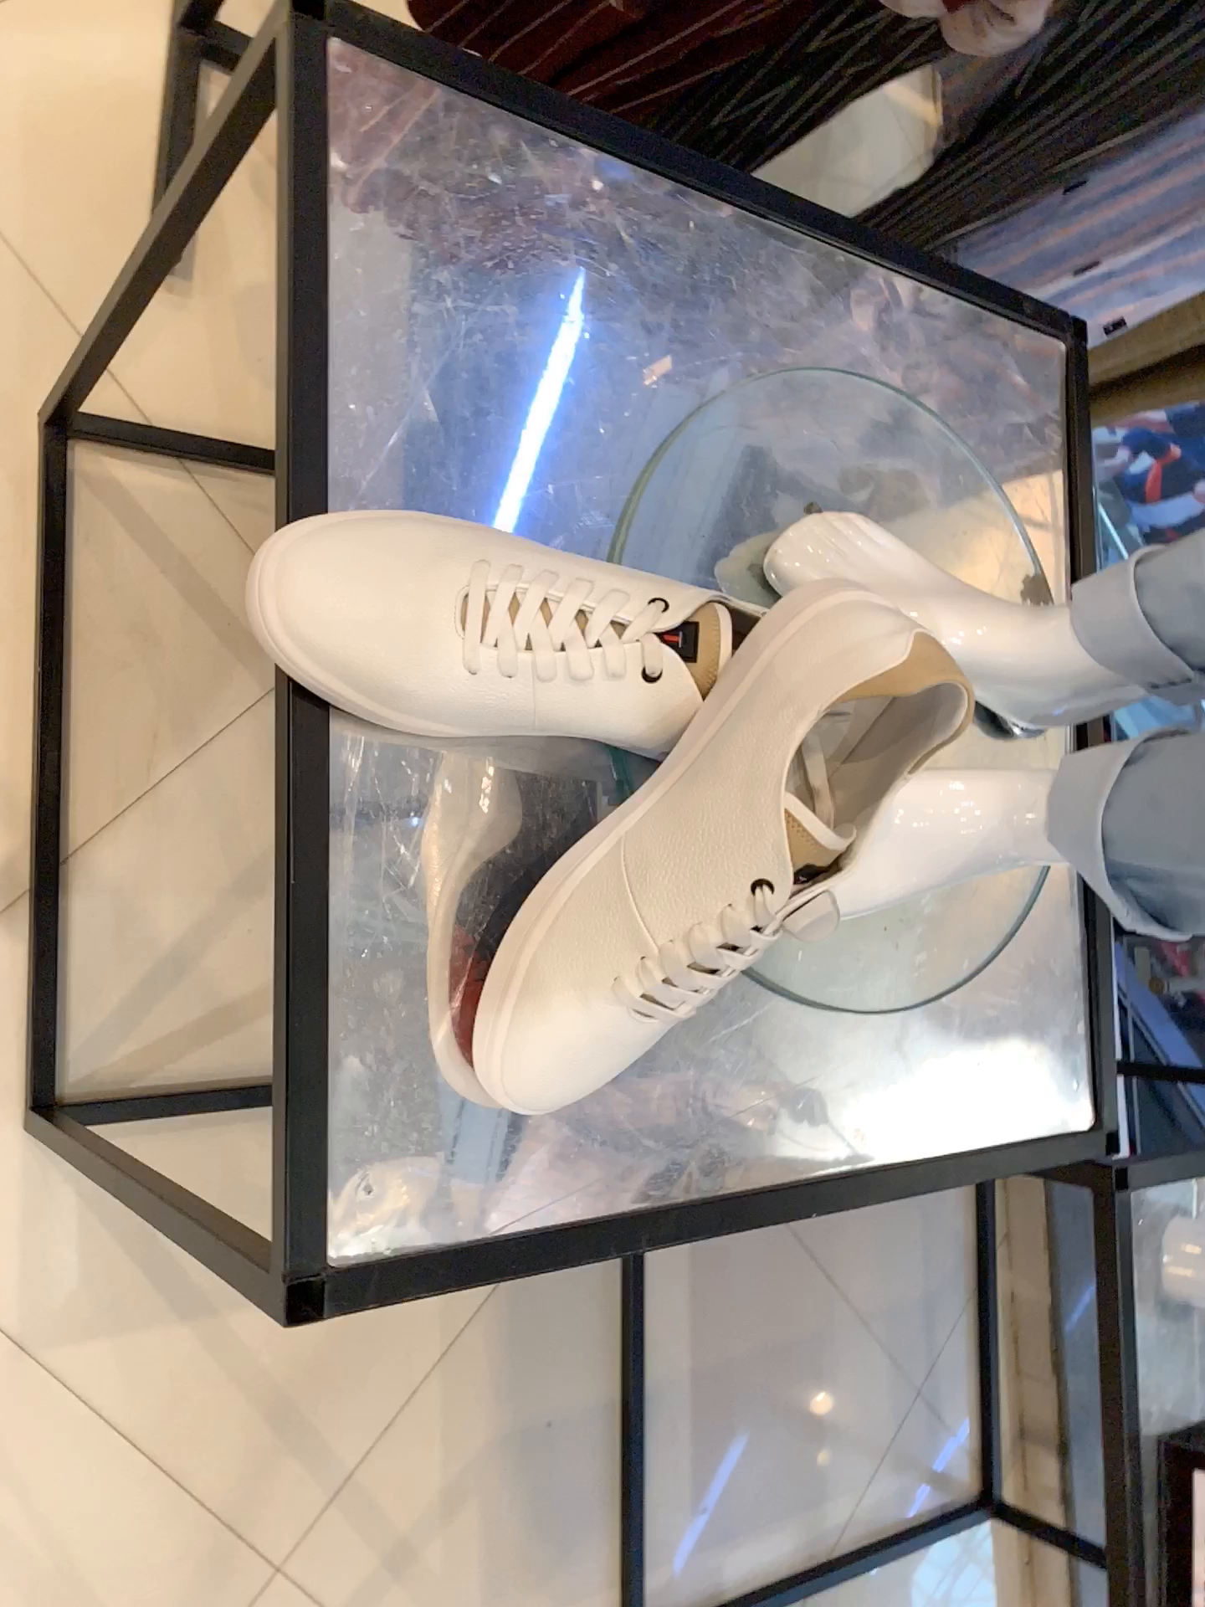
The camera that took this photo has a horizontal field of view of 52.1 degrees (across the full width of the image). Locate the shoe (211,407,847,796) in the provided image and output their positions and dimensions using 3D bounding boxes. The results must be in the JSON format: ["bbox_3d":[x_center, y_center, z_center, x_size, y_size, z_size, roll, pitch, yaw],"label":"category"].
[{"bbox_3d":[-0.024,-0.080,0.599,0.291,0.100,0.100,11,80,-34],"label":"shoe"}]

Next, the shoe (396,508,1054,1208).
[{"bbox_3d":[0.059,0.021,0.545,0.300,0.080,0.100,-48,131,-5],"label":"shoe"}]
